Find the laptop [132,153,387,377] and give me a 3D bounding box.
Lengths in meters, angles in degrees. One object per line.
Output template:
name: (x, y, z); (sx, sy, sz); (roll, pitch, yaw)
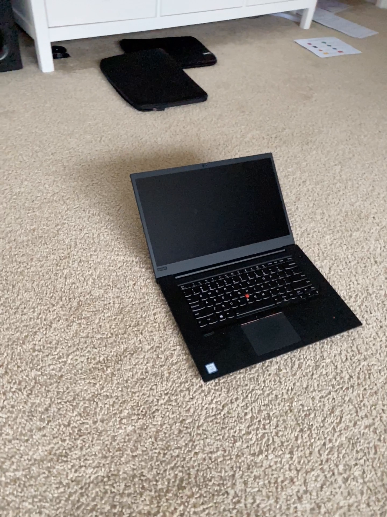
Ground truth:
laptop: (0.107, -0.026, 0.846); (0.360, 0.141, 0.434); (-14, 50, -20)
